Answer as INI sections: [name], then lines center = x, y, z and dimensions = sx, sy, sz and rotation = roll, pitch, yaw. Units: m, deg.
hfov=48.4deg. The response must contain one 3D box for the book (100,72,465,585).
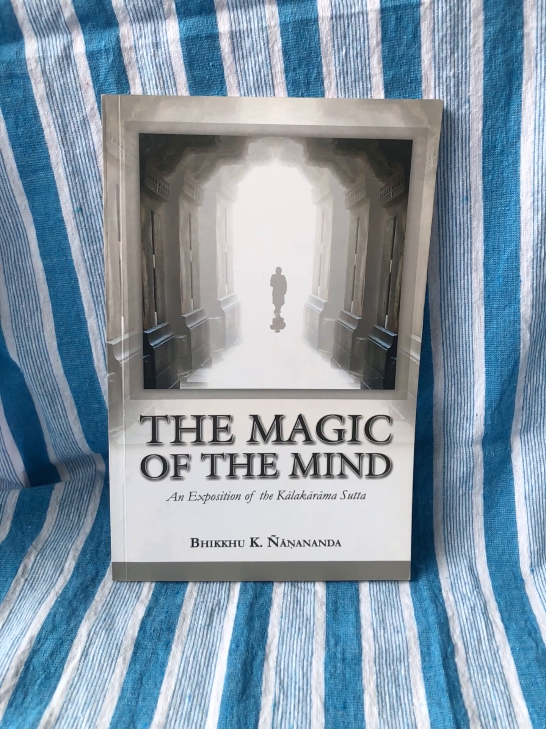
[book]
center = 0.002, -0.009, 0.269
dimensions = 0.150, 0.220, 0.010
rotation = 1, 8, -3
